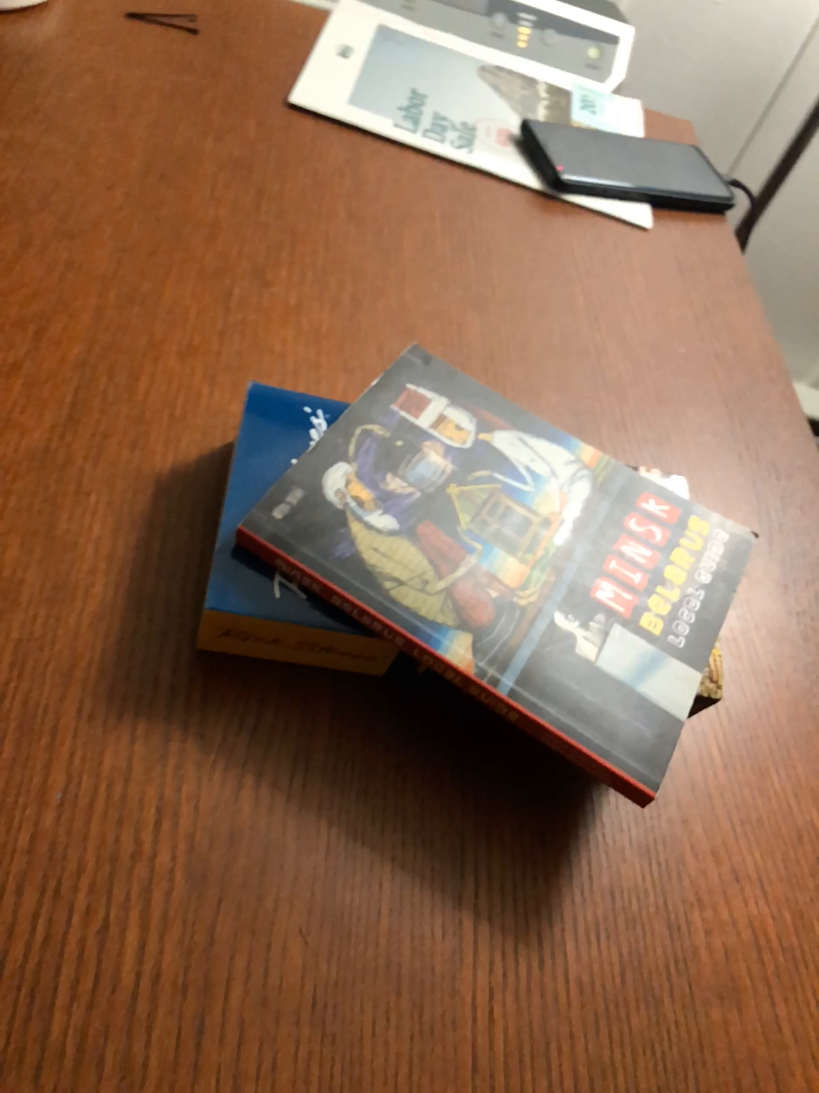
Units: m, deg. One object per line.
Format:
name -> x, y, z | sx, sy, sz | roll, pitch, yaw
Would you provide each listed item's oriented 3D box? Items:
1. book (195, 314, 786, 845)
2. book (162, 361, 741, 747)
book -> 0.042, -0.002, 0.353 | 0.190, 0.020, 0.151 | 30, 48, 5
book -> 0.020, 0.002, 0.393 | 0.220, 0.040, 0.131 | 11, 50, -12
